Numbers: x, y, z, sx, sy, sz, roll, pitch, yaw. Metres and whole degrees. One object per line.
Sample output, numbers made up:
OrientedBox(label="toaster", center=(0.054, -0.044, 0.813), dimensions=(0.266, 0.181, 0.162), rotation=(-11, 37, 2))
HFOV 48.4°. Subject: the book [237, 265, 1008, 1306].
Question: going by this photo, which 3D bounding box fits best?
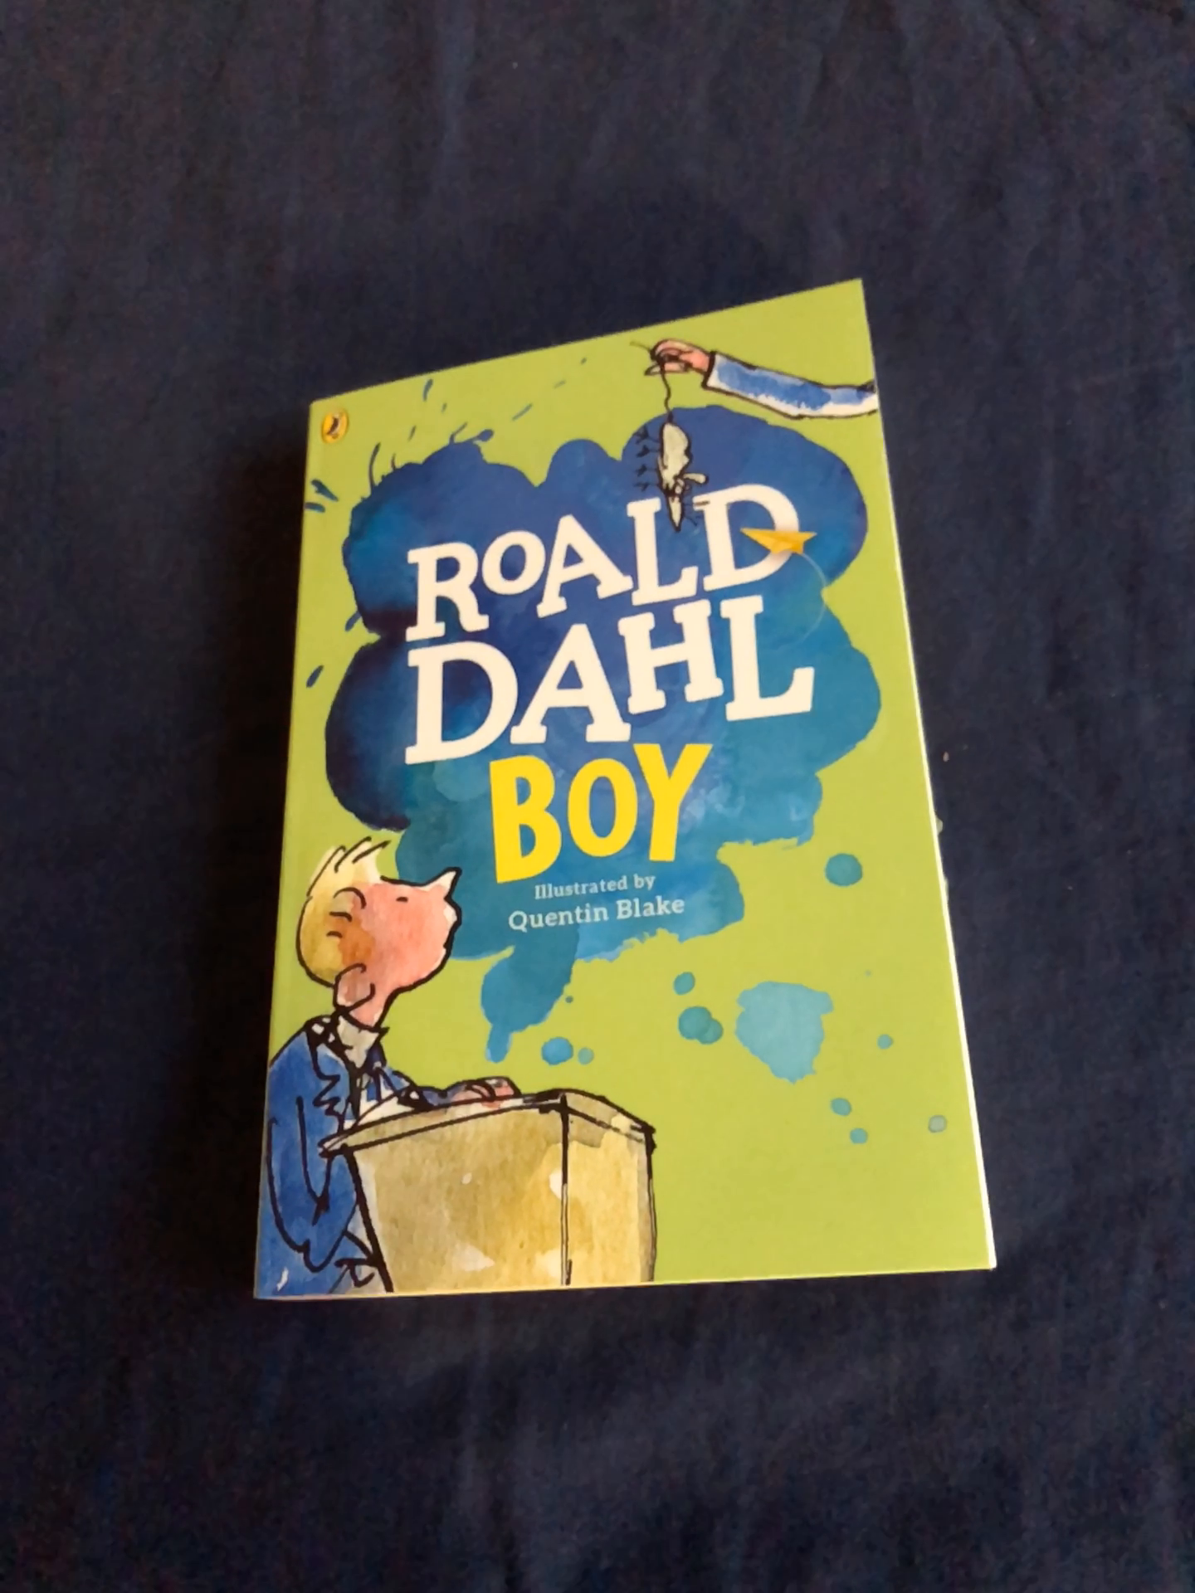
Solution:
OrientedBox(label="book", center=(0.000, -0.005, 0.256), dimensions=(0.126, 0.027, 0.189), rotation=(-7, 69, 12))
